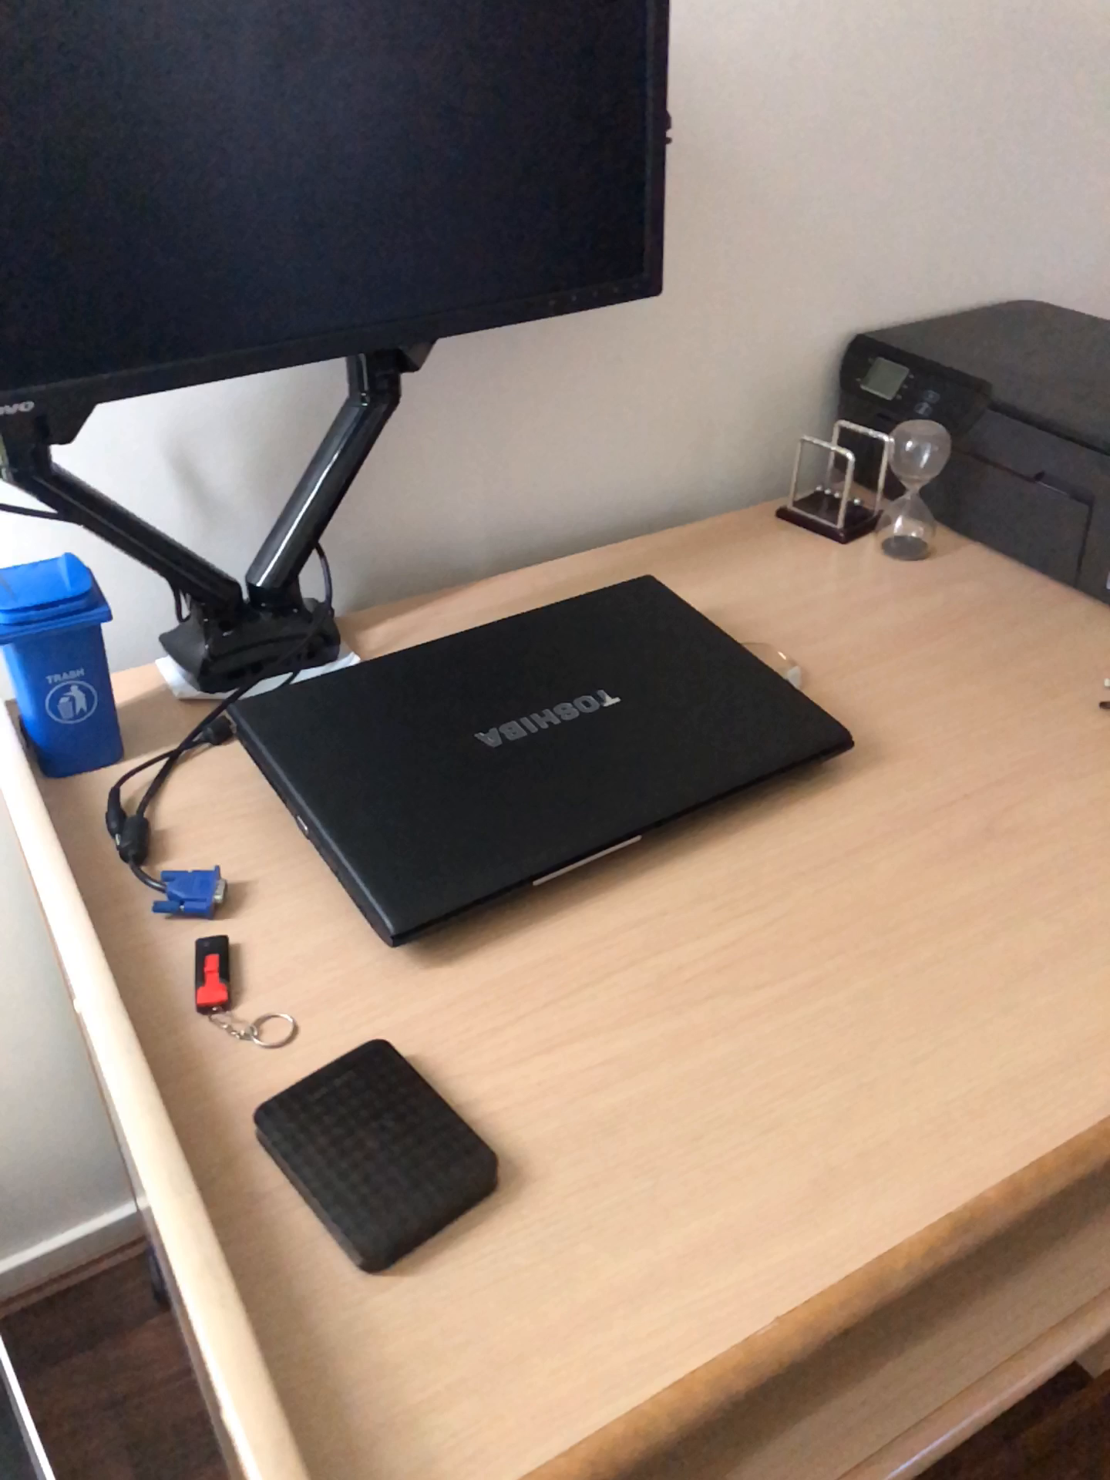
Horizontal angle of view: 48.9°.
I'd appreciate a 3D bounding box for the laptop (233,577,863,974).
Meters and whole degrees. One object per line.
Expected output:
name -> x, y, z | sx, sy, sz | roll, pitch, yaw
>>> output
laptop -> -0.003, 0.000, 0.896 | 0.380, 0.029, 0.257 | -20, 45, -28
